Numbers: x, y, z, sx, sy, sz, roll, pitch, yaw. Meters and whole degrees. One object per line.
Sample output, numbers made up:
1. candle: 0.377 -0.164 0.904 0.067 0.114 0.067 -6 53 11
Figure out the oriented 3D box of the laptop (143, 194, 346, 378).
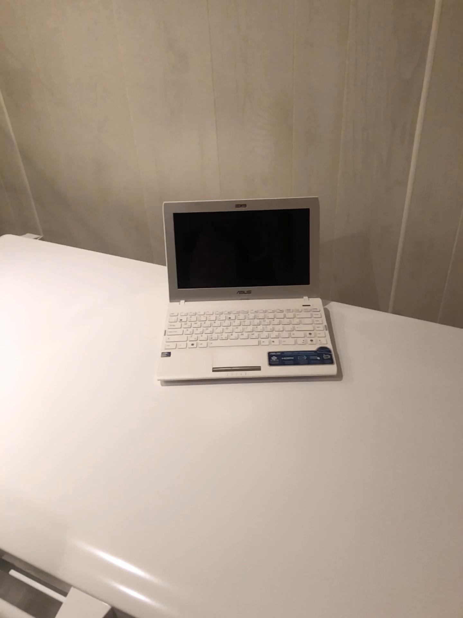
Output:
1. laptop: 0.021 -0.051 0.883 0.287 0.168 0.294 -2 37 2
